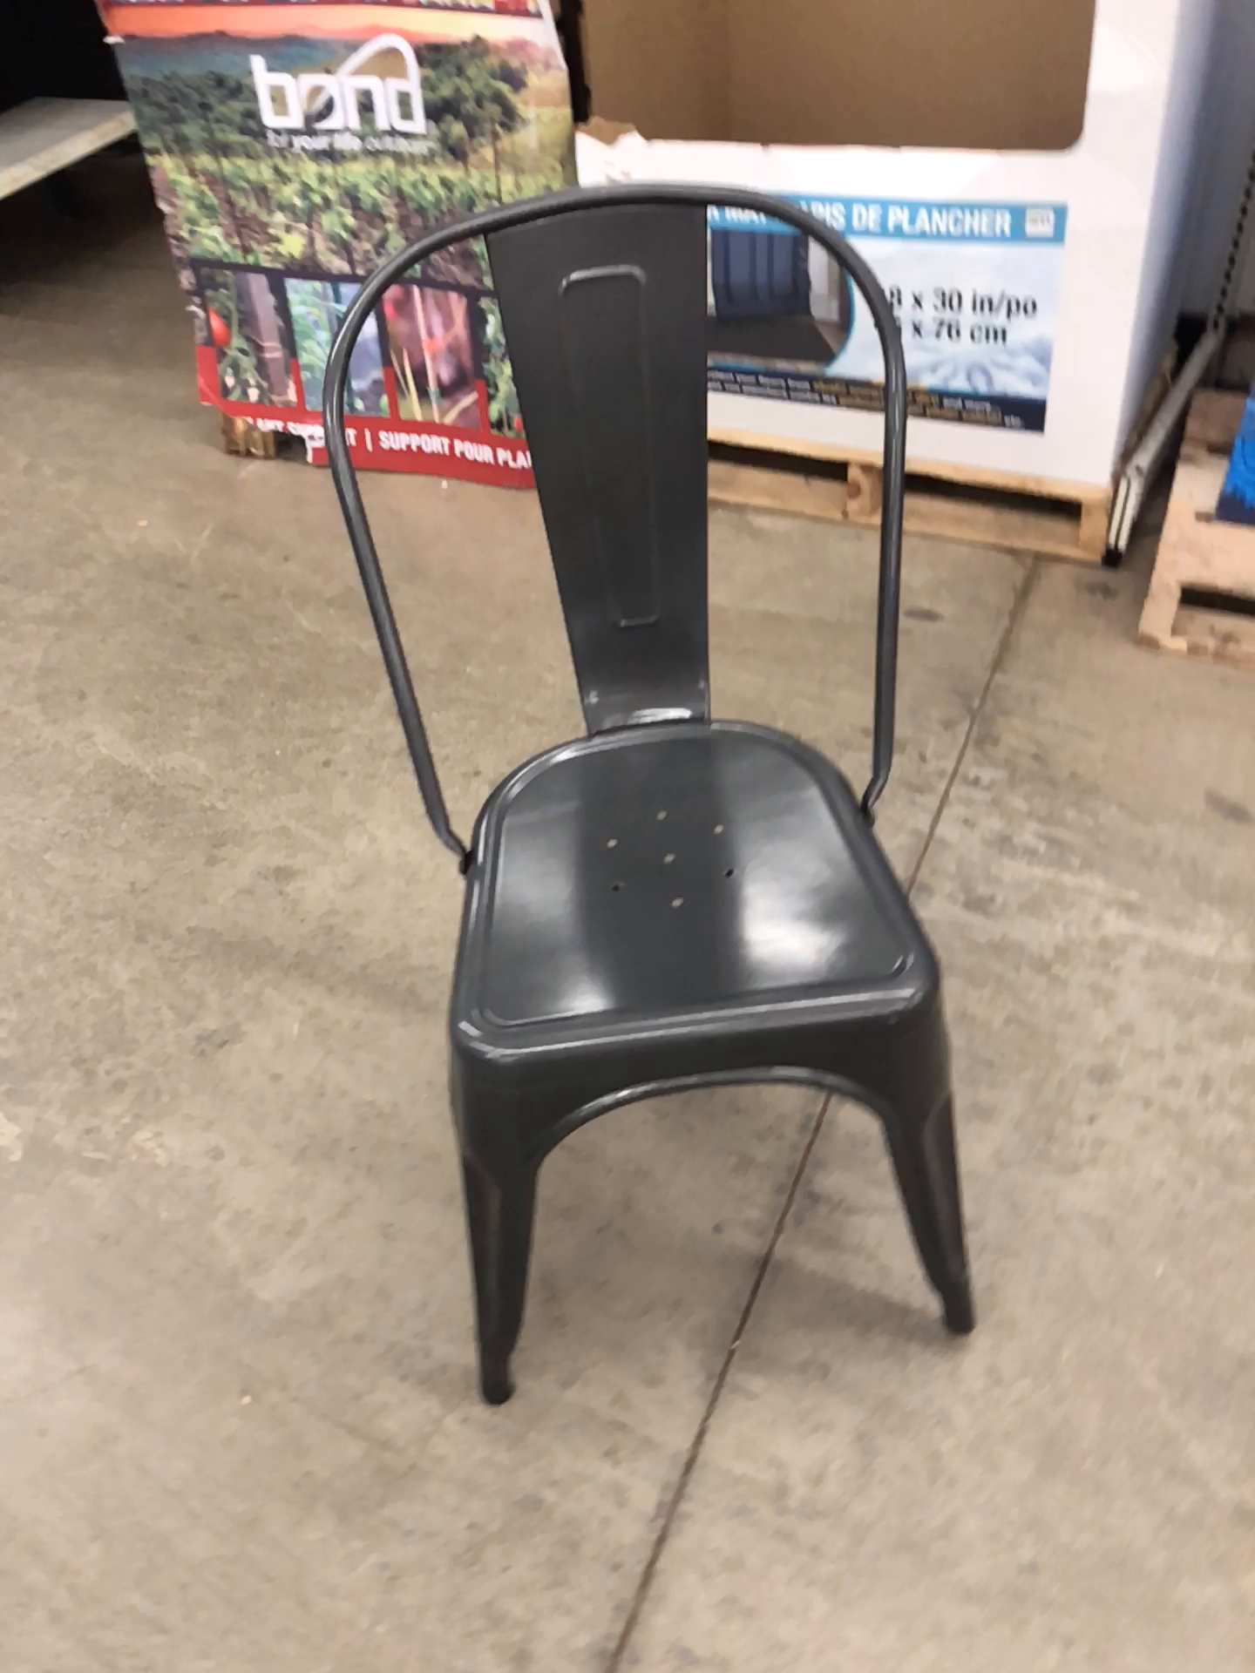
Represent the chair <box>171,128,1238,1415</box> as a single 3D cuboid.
[{"bbox_3d":[0.033,-0.007,1.077,0.480,0.817,0.502,-8,44,-3],"label":"chair"}]
